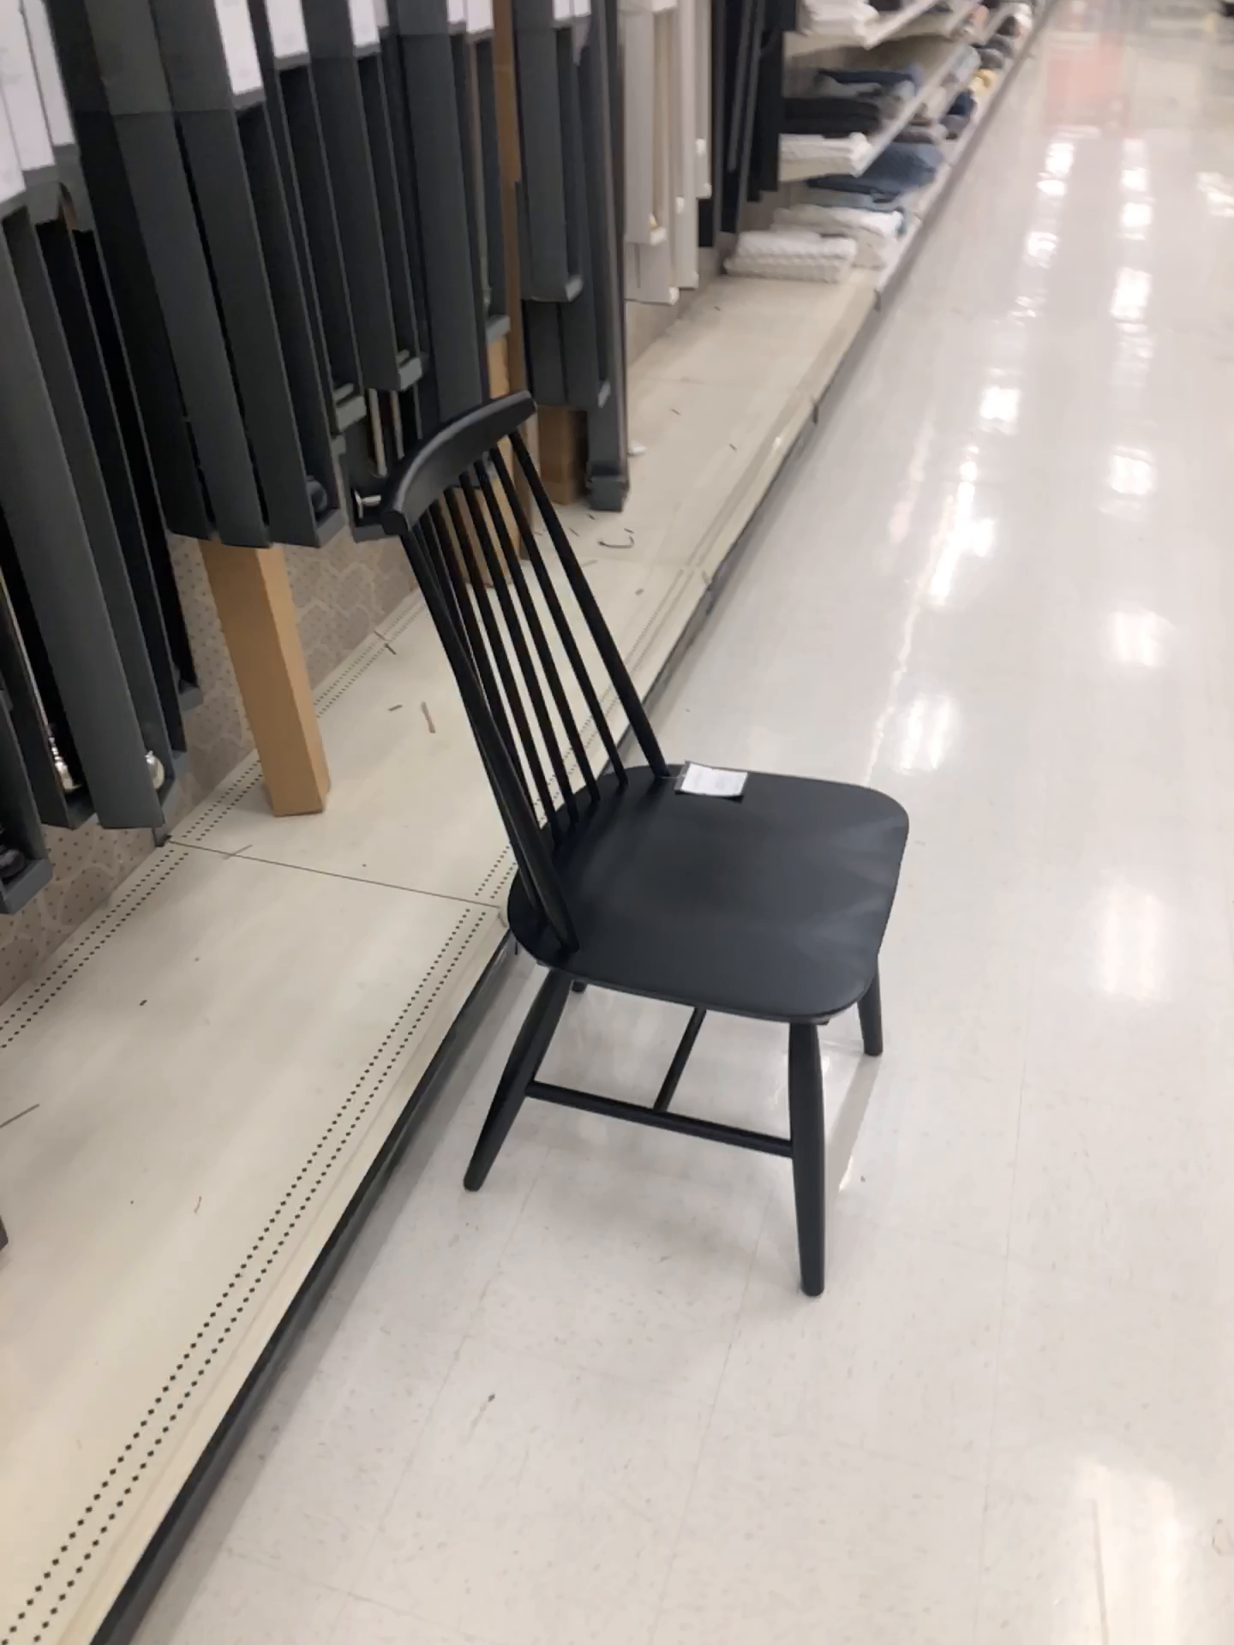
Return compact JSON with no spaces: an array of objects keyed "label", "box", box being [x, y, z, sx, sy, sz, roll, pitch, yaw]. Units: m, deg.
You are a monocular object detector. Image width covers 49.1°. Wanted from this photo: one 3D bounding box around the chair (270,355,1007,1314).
[{"label":"chair","box":[0.058,0.007,1.596,0.608,0.909,0.520,10,36,14]}]
